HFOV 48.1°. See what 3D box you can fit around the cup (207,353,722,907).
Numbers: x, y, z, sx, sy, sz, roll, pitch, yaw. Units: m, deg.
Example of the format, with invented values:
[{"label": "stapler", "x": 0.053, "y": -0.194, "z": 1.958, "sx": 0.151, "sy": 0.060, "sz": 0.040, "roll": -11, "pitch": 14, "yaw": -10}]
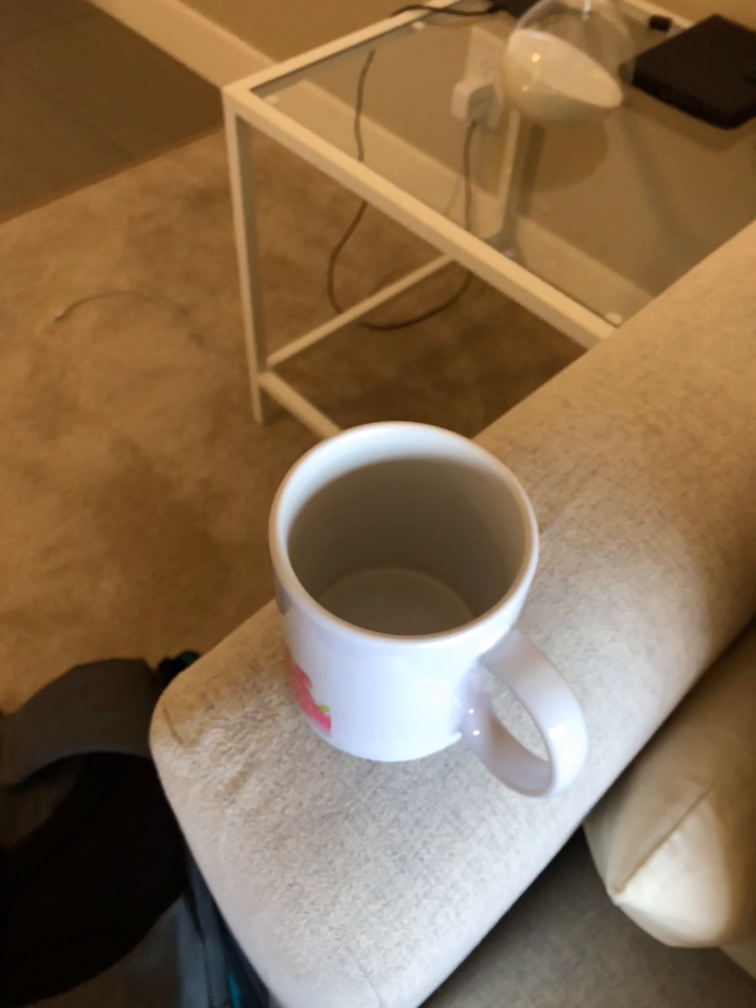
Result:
[{"label": "cup", "x": 0.018, "y": 0.039, "z": 0.269, "sx": 0.080, "sy": 0.100, "sz": 0.120, "roll": -32, "pitch": 61, "yaw": -24}]
